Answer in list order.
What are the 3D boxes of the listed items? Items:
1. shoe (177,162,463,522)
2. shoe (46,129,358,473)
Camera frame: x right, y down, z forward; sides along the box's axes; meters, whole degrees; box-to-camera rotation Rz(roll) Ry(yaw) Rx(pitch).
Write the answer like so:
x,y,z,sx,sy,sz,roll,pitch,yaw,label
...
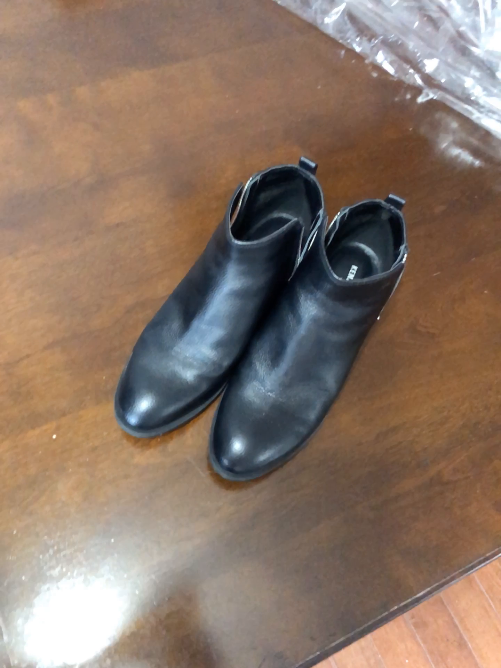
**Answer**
x,y,z,sx,sy,sz,roll,pitch,yaw,label
0.056,0.007,0.463,0.100,0.130,0.260,31,66,8,shoe
-0.031,-0.029,0.478,0.100,0.130,0.260,34,66,9,shoe
